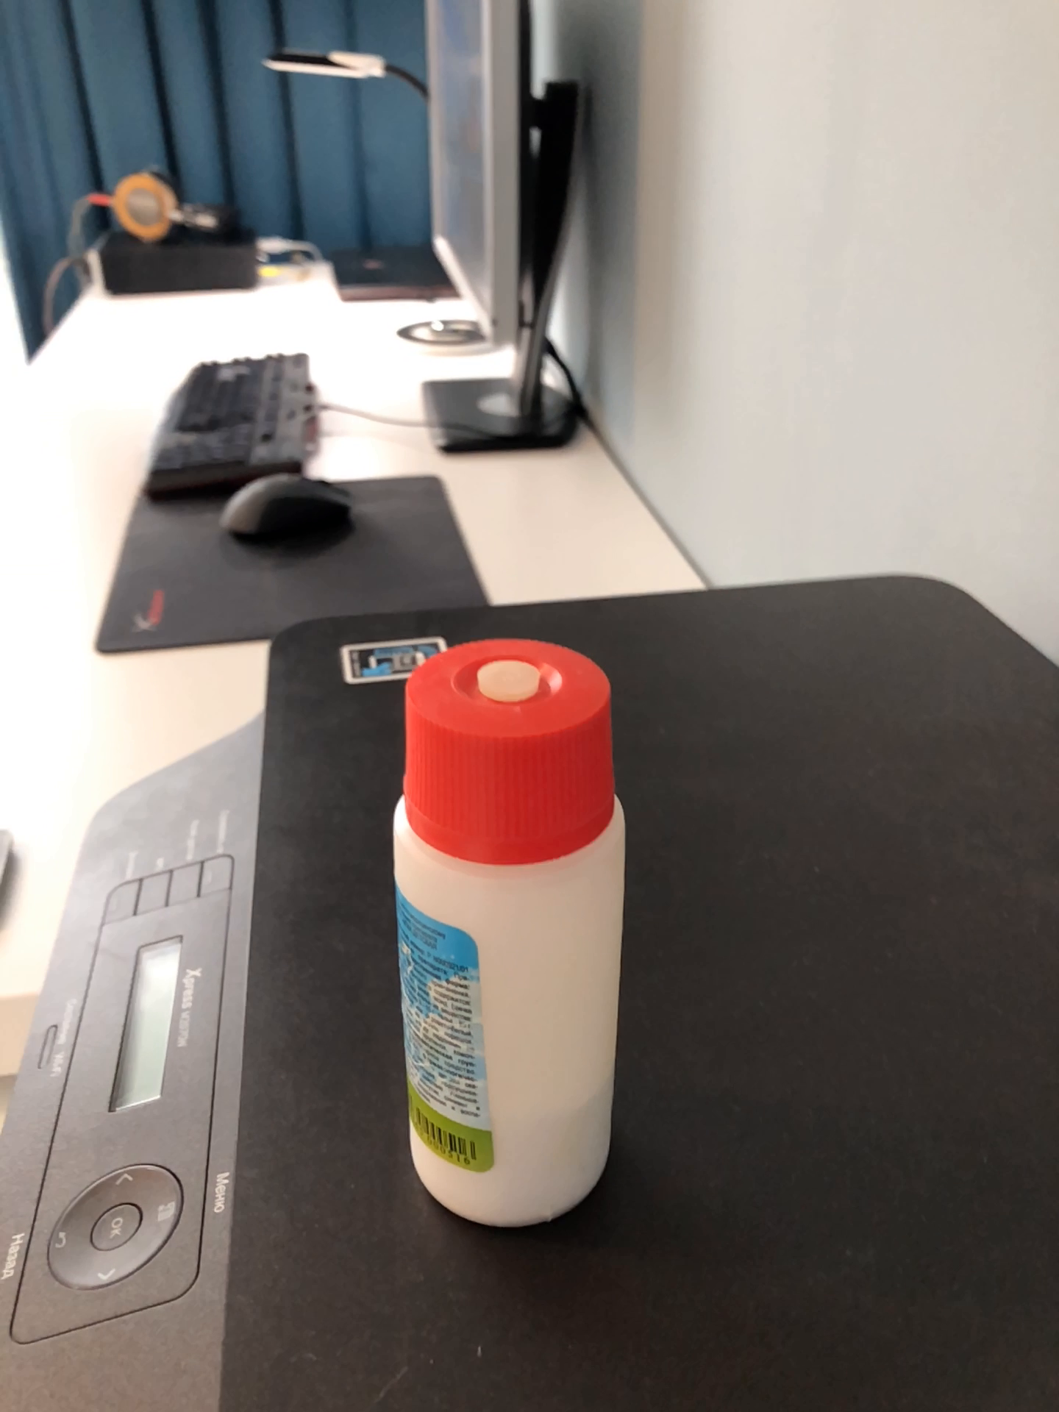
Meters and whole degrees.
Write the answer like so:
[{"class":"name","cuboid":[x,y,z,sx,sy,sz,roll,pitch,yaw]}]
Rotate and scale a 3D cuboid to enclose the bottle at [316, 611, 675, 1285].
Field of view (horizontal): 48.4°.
[{"class":"bottle","cuboid":[-0.005,0.046,0.223,0.042,0.112,0.044,-1,29,0]}]
